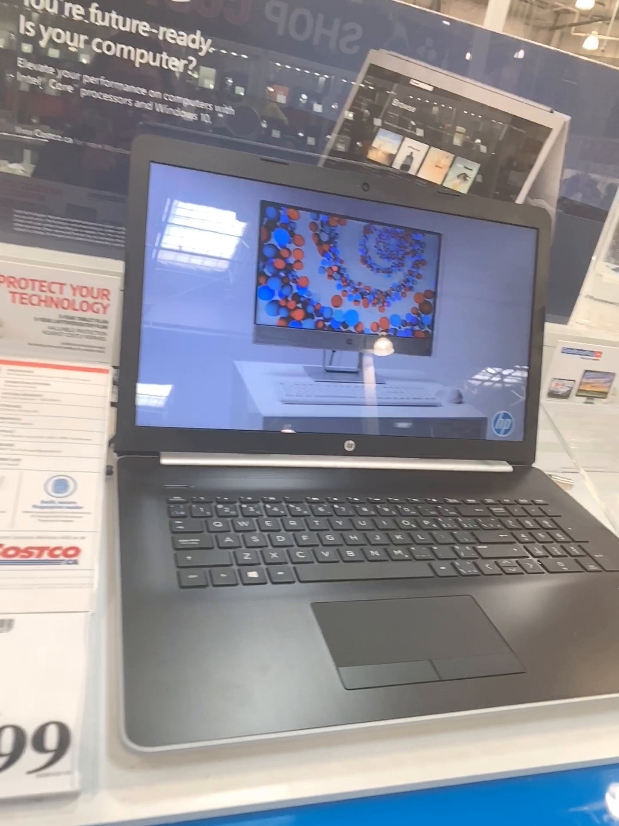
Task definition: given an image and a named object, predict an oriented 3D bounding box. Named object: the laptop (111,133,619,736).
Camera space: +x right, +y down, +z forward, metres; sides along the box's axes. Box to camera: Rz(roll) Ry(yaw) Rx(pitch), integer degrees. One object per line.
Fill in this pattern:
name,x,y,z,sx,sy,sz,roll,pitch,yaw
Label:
laptop,0.074,-0.034,0.458,0.395,0.234,0.371,3,23,-20
